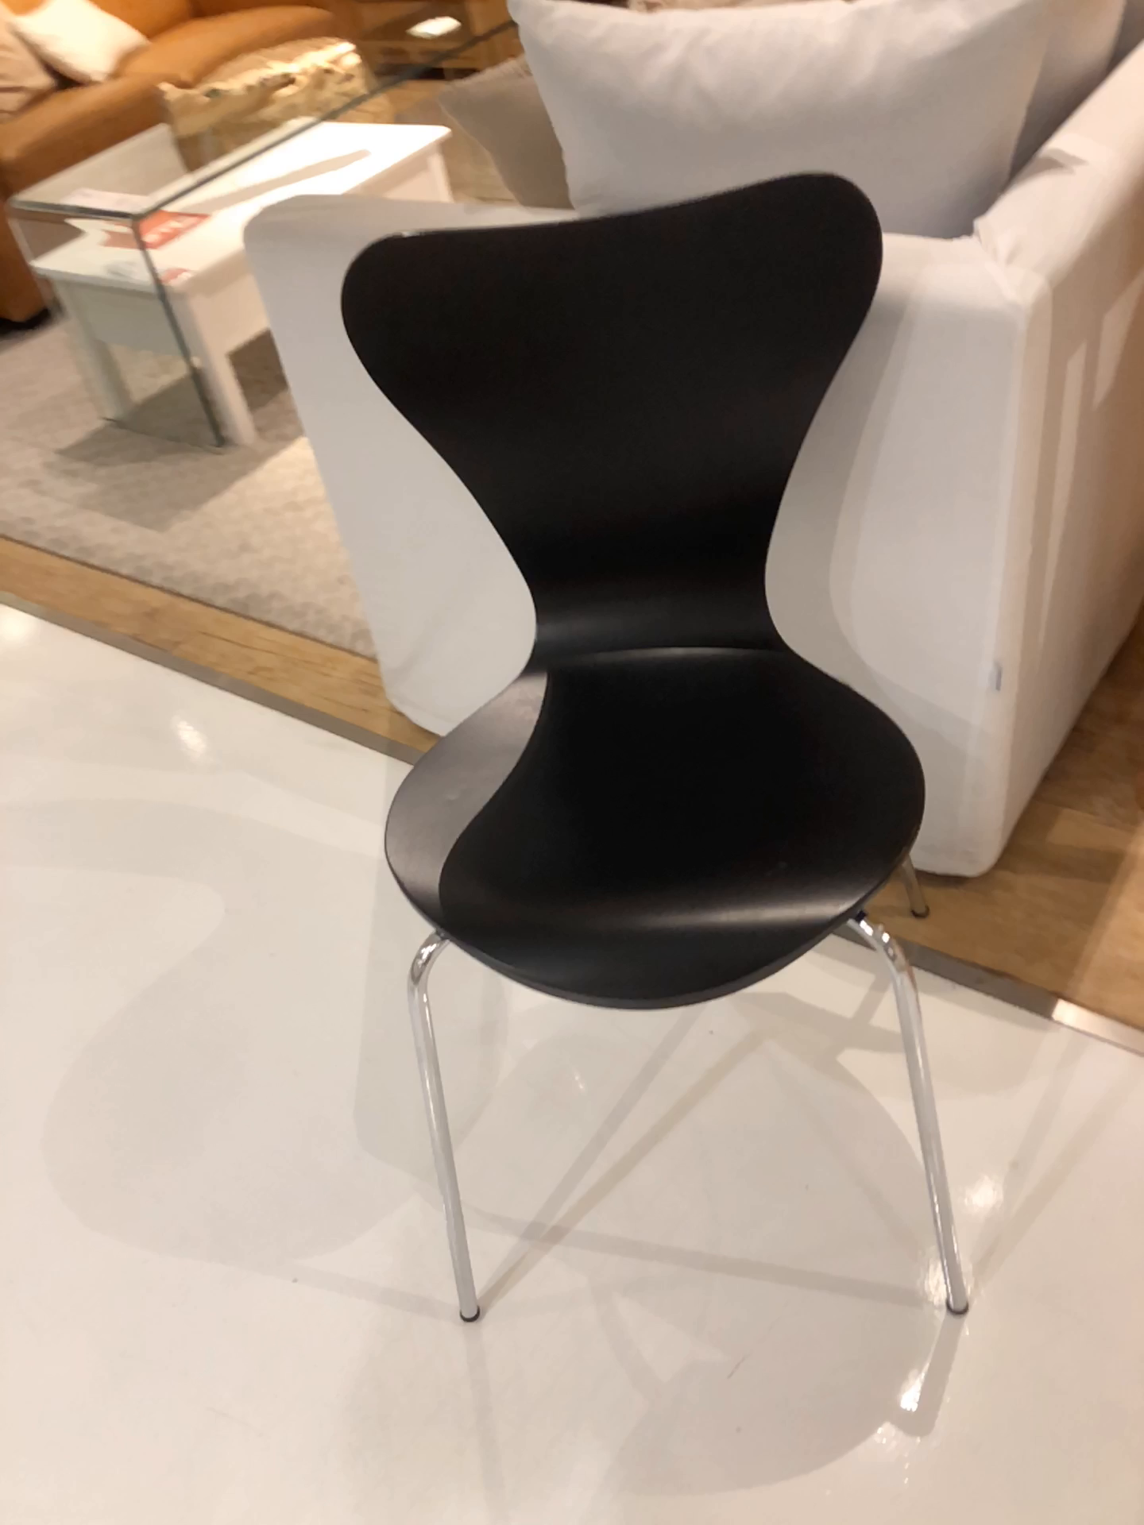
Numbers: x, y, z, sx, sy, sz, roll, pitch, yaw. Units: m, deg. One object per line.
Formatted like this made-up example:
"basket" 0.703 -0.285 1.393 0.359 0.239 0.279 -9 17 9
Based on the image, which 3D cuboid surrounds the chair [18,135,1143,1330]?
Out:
"chair" 0.072 0.021 1.043 0.540 0.774 0.554 -5 42 9
